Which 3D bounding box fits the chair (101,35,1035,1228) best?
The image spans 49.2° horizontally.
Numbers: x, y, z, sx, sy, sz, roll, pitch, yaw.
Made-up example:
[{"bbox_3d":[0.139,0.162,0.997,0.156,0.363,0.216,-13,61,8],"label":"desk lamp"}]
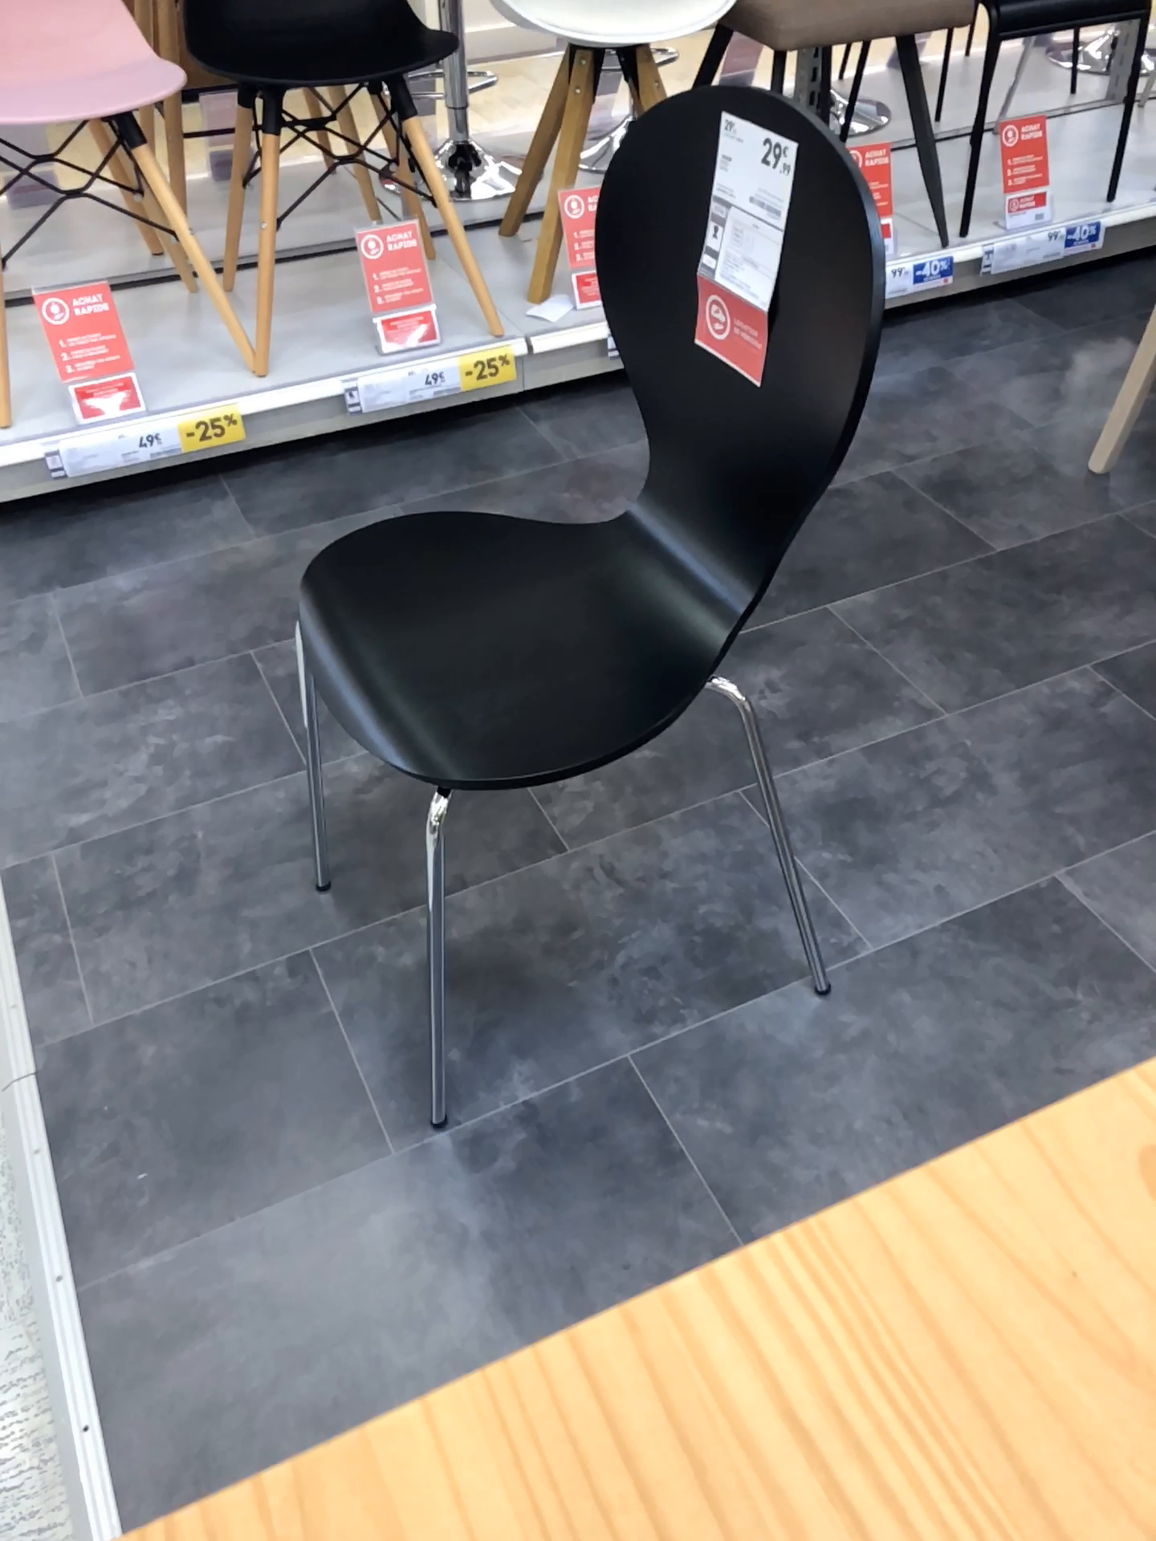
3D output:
[{"bbox_3d":[-0.029,-0.111,1.192,0.501,0.895,0.492,-19,44,-19],"label":"chair"}]
